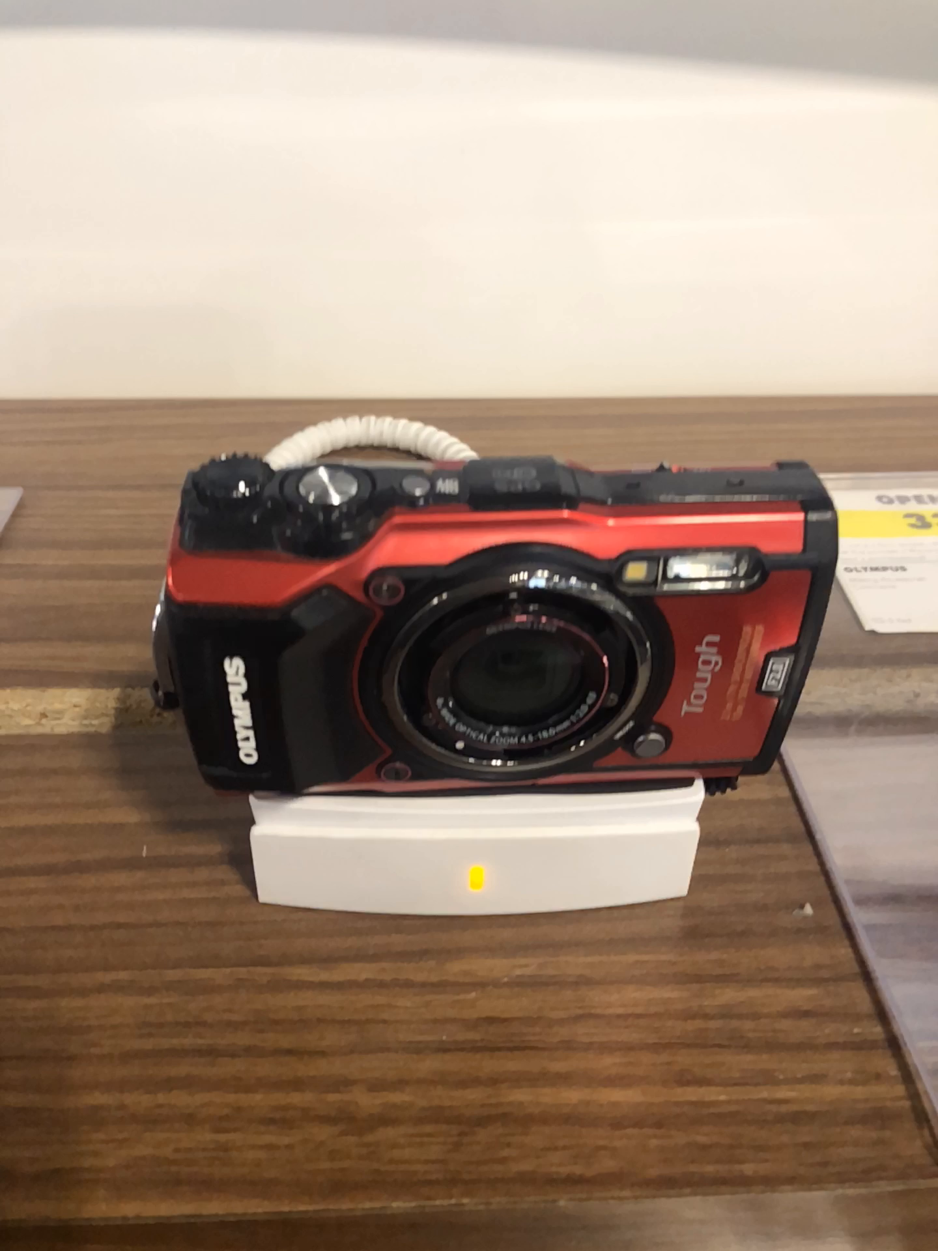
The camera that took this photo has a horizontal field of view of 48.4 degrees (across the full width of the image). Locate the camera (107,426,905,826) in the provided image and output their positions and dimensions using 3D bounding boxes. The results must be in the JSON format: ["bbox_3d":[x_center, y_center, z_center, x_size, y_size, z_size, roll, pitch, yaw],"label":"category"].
[{"bbox_3d":[0.005,0.001,0.183,0.117,0.064,0.030,0,37,-2],"label":"camera"}]
